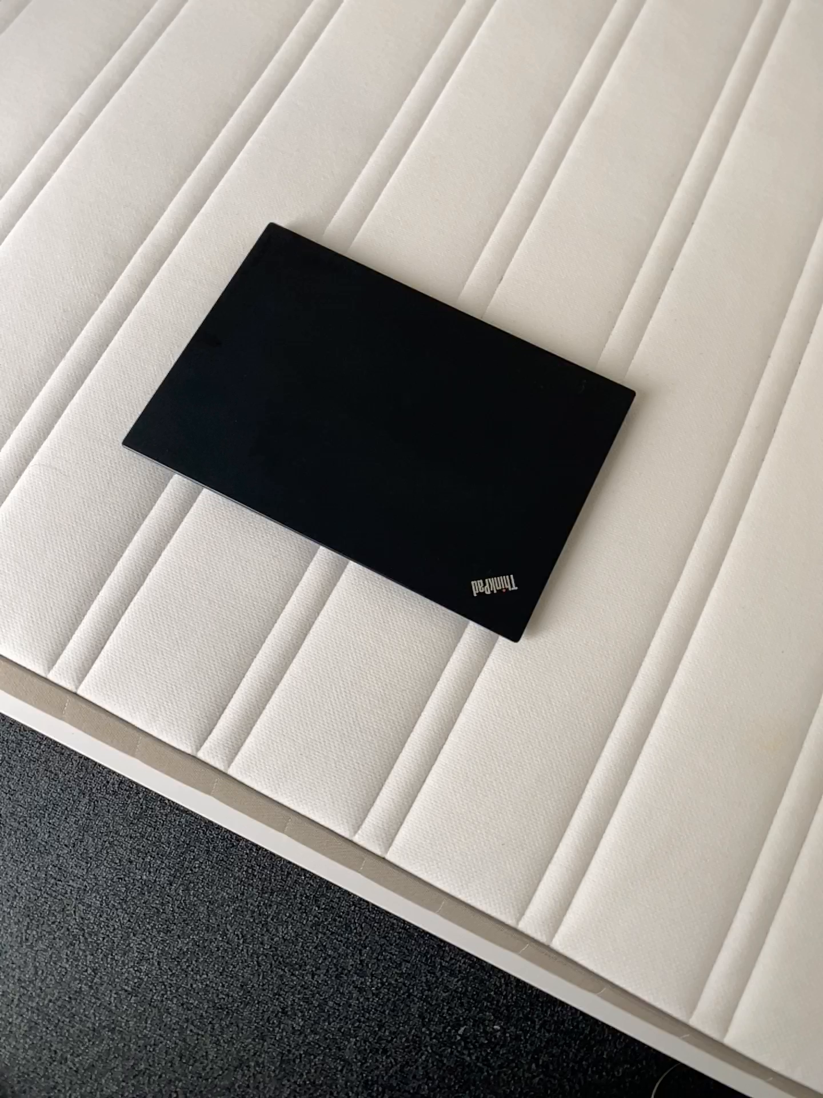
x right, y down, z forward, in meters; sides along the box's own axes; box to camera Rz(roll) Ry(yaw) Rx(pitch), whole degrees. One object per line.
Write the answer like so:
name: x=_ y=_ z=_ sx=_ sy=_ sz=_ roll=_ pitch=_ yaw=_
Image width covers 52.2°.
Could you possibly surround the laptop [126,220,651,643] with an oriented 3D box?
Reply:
laptop: x=-0.010 y=-0.101 z=0.635 sx=0.325 sy=0.012 sz=0.226 roll=26 pitch=71 yaw=5
